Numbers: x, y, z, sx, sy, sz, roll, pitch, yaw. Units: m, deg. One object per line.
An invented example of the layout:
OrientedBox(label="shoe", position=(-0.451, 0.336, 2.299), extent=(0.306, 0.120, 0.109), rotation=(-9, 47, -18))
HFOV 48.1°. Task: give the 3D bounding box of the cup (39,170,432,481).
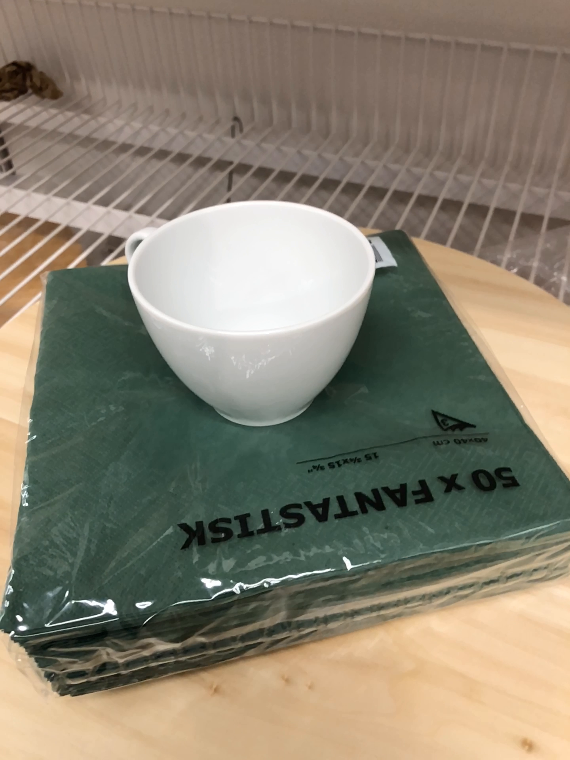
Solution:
OrientedBox(label="cup", position=(-0.018, -0.031, 0.261), extent=(0.120, 0.050, 0.090), rotation=(24, 49, 25))
